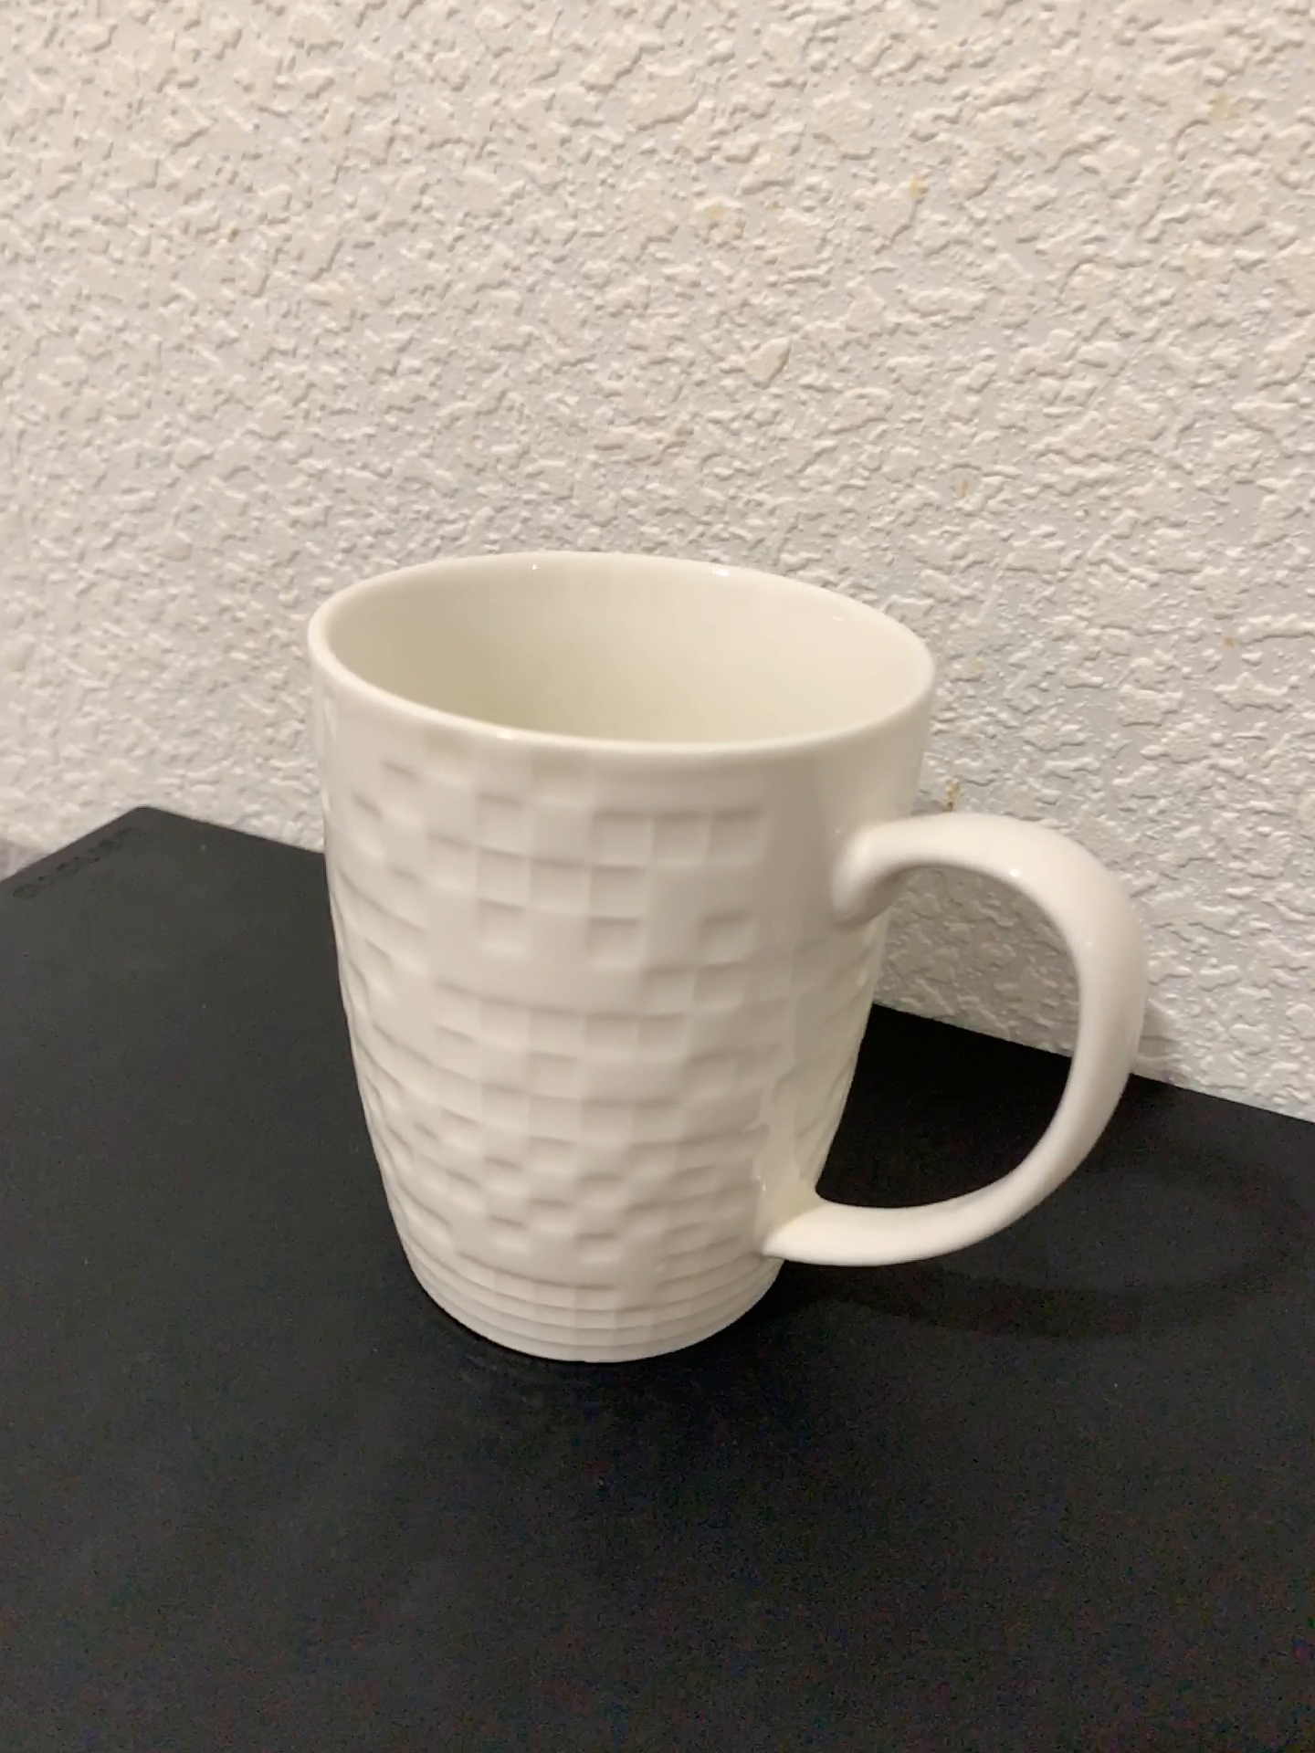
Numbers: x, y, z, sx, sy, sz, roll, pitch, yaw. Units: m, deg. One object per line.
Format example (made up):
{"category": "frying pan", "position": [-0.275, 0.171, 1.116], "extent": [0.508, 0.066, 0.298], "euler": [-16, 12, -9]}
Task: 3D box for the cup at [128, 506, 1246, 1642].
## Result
{"category": "cup", "position": [0.004, 0.016, 0.201], "extent": [0.119, 0.105, 0.082], "euler": [18, 32, 25]}
